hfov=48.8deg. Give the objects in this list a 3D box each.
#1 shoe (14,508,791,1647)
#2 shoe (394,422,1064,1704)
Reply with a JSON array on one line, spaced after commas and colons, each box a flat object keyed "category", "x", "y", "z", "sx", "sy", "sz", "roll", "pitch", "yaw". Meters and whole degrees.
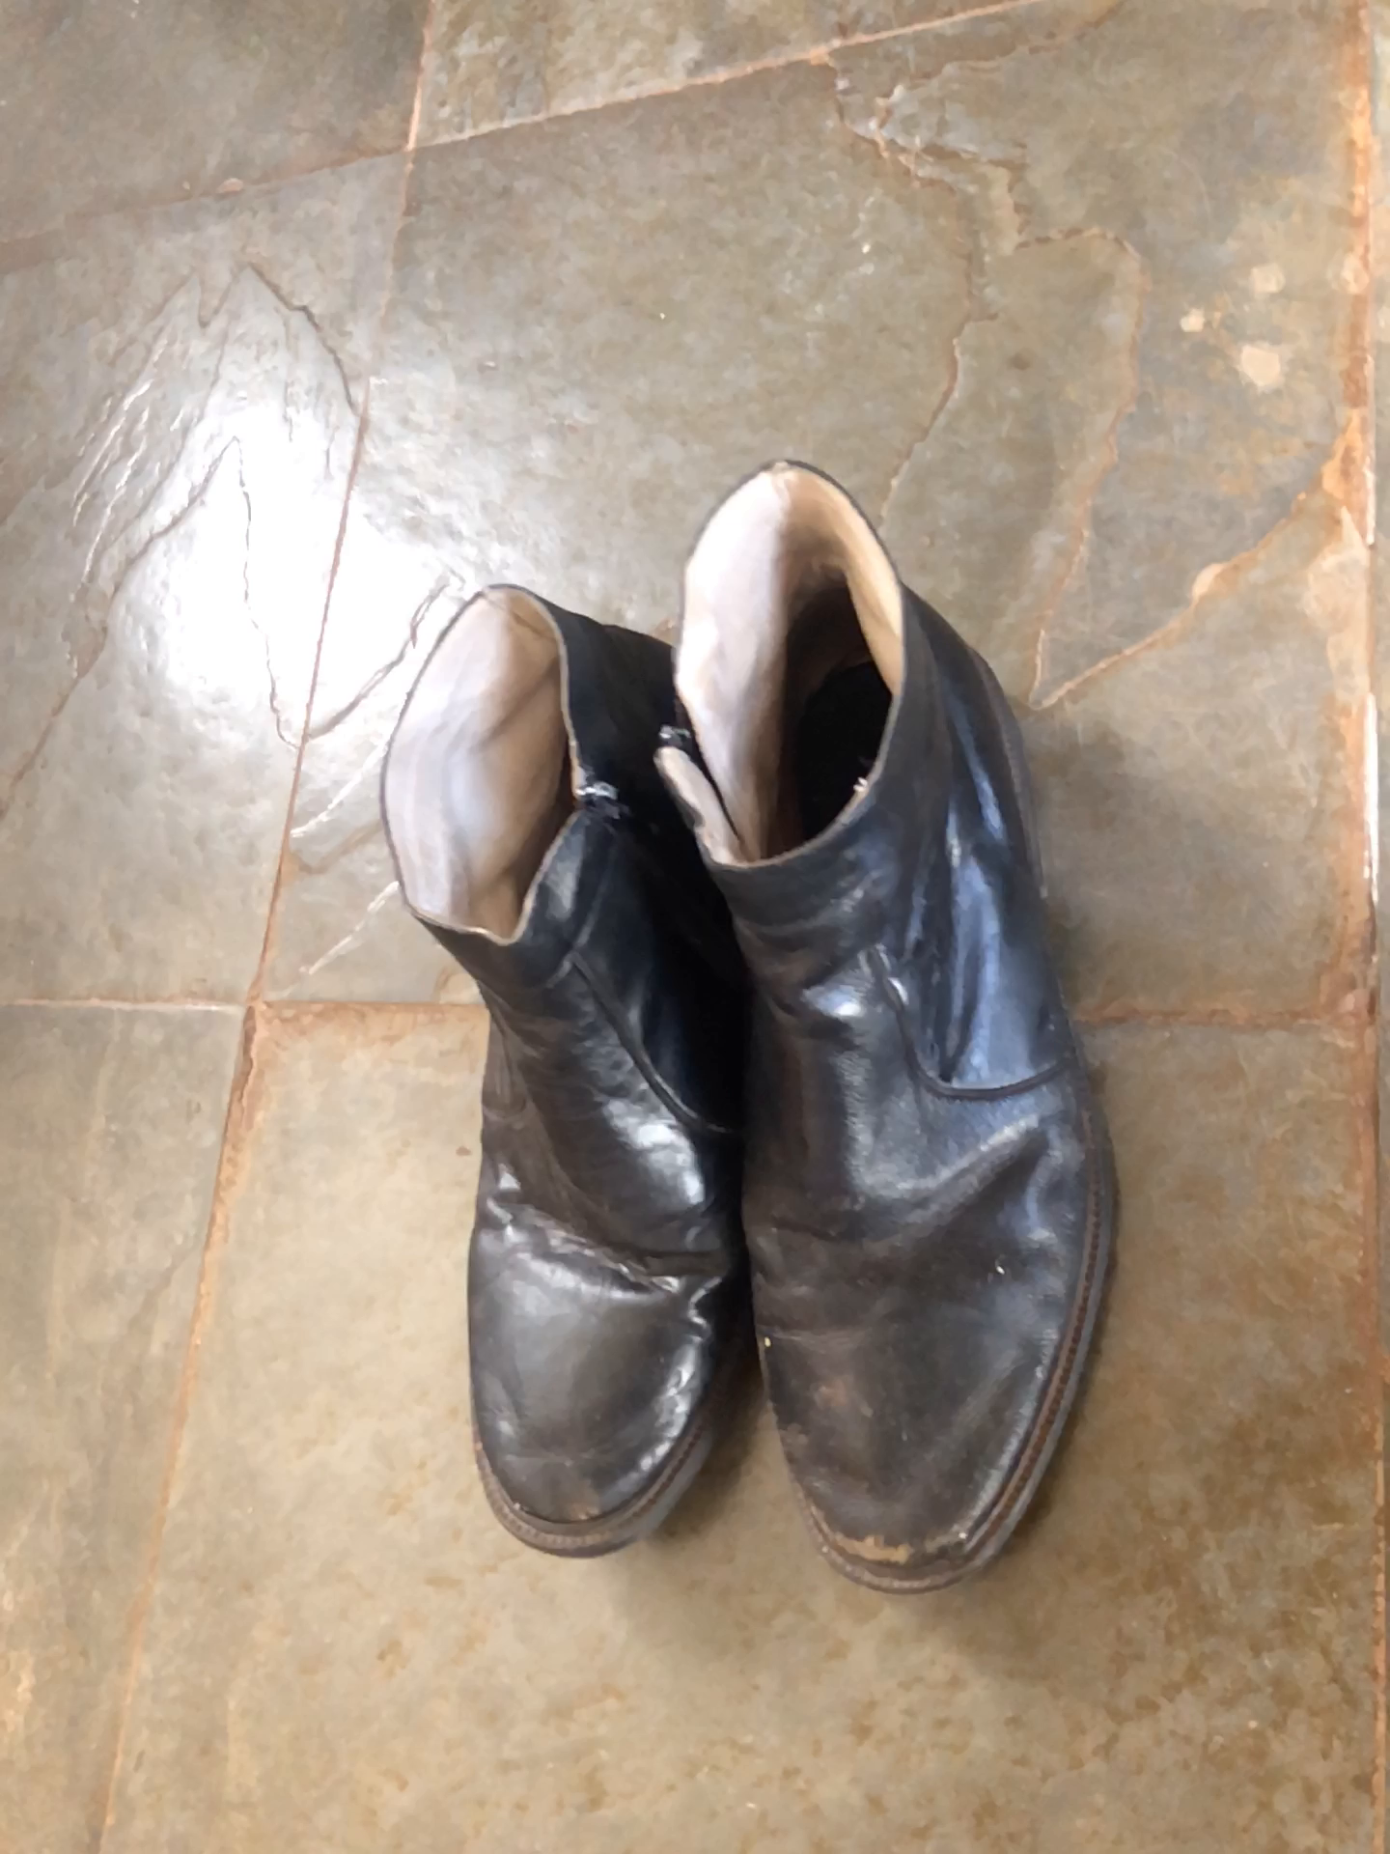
[{"category": "shoe", "x": -0.060, "y": 0.042, "z": 0.423, "sx": 0.100, "sy": 0.160, "sz": 0.250, "roll": 1, "pitch": 74, "yaw": 24}, {"category": "shoe", "x": 0.022, "y": 0.037, "z": 0.383, "sx": 0.100, "sy": 0.160, "sz": 0.251, "roll": -5, "pitch": 72, "yaw": 22}]
